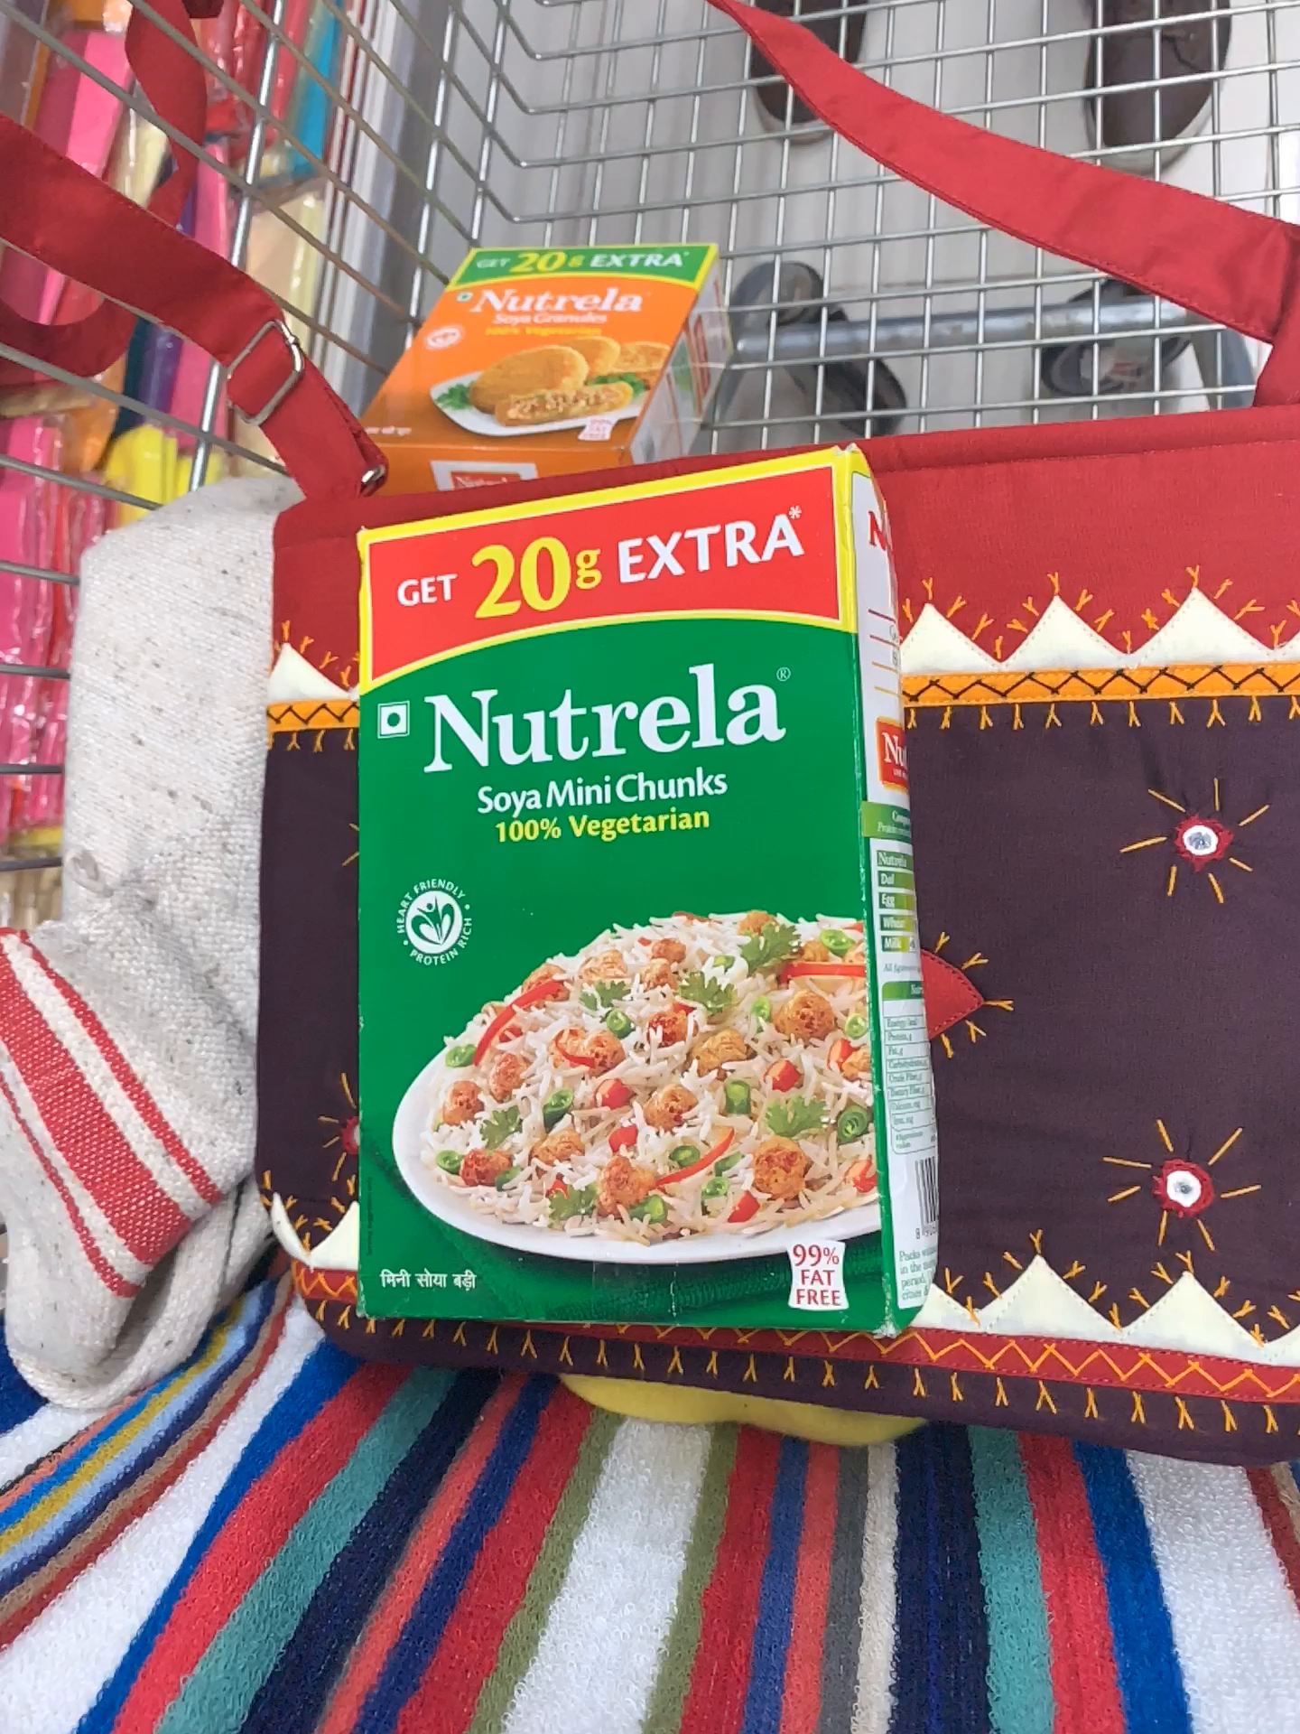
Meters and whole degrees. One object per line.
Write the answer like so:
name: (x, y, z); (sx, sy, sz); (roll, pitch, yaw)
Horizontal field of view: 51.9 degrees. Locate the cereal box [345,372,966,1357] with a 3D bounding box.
cereal box: (-0.001, 0.003, 0.297); (0.120, 0.050, 0.190); (-5, 82, 18)
